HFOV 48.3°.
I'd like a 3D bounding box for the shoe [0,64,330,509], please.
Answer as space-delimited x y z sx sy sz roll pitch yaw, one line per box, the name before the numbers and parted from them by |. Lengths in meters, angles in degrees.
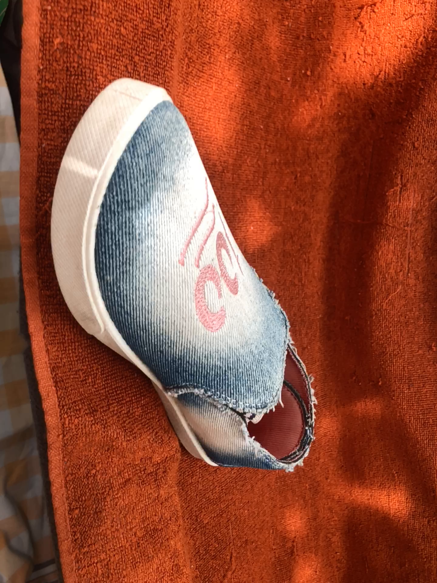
shoe | -0.011 0.019 0.273 0.090 0.079 0.241 -62 142 -34
